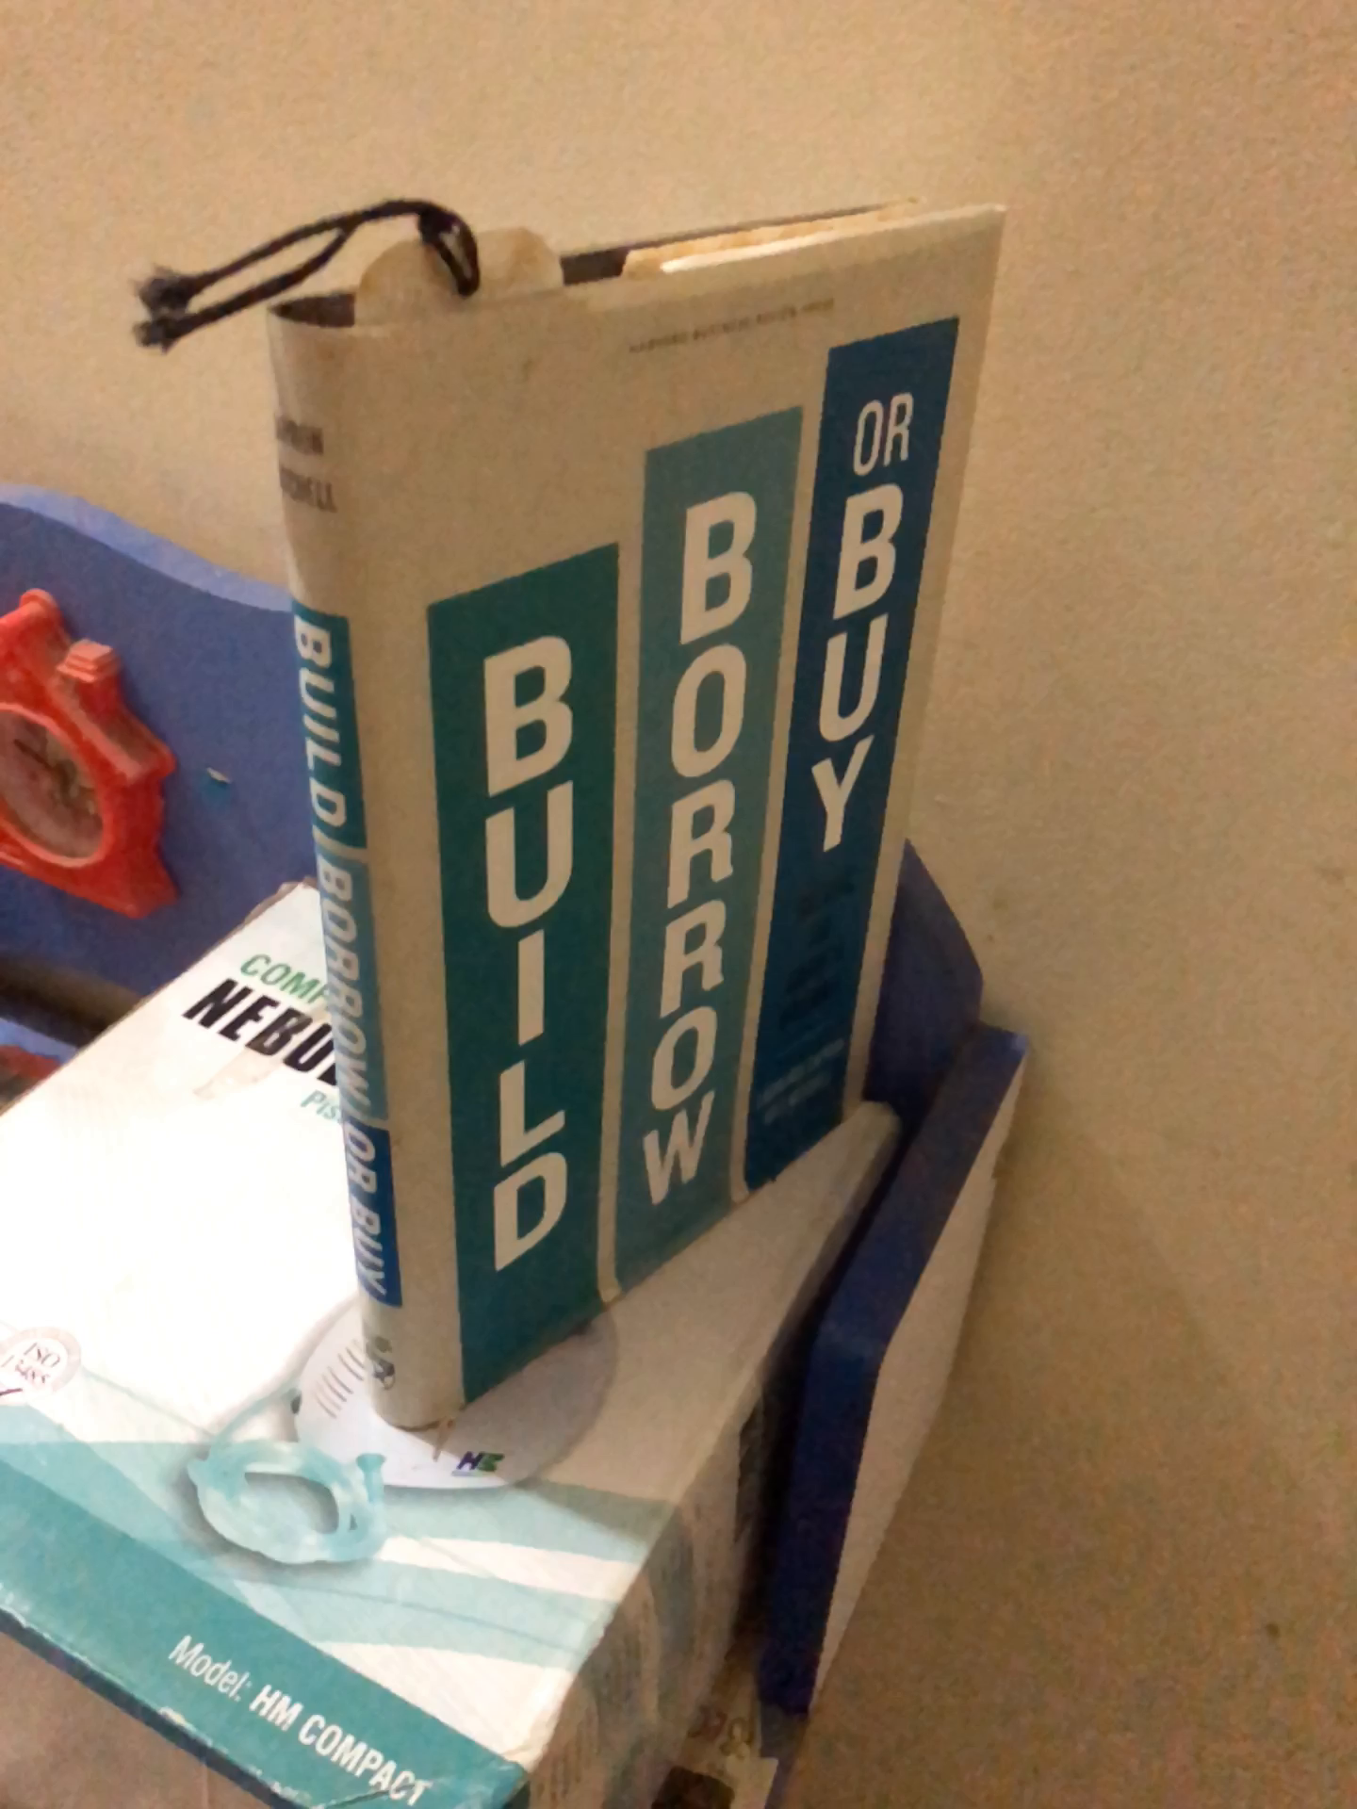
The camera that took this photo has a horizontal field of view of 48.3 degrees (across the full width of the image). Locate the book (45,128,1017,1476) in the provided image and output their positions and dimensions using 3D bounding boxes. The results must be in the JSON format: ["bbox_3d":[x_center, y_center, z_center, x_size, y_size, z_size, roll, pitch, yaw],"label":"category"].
[{"bbox_3d":[-0.014,-0.021,0.320,0.040,0.239,0.180,29,43,34],"label":"book"}]
